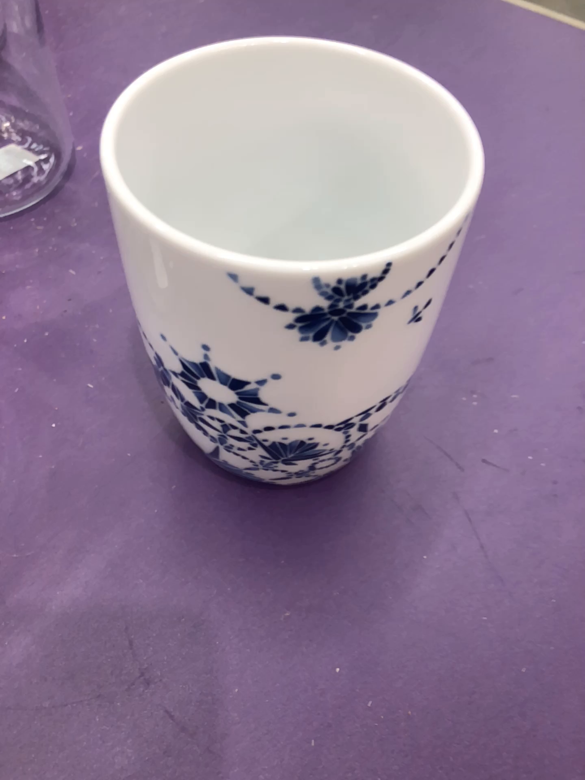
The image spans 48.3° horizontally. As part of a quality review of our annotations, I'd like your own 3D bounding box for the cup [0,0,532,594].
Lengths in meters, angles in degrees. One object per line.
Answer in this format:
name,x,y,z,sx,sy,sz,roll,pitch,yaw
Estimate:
cup,-0.005,-0.037,0.212,0.100,0.119,0.141,20,56,11
